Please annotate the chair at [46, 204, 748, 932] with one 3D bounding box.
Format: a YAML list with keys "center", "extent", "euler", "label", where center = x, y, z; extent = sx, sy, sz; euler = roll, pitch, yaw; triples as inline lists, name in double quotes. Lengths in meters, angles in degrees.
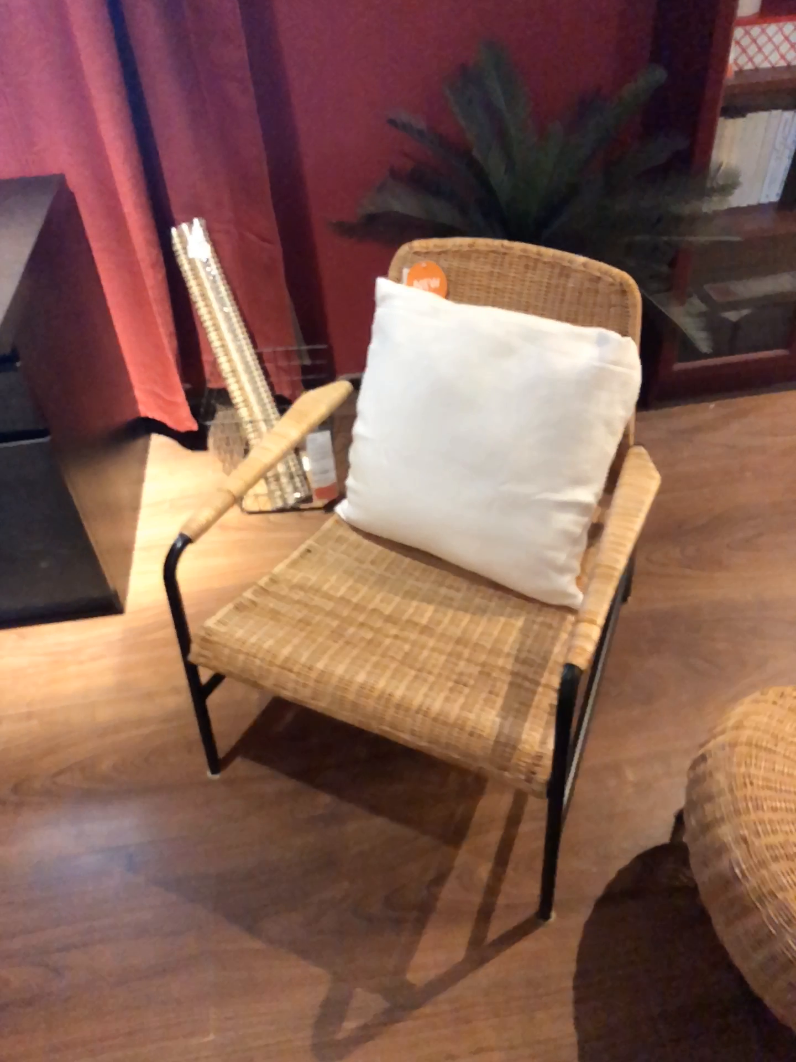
- center: [0.059, 0.014, 1.350]
  extent: [0.671, 0.705, 0.663]
  euler: [15, 46, 21]
  label: "chair"
